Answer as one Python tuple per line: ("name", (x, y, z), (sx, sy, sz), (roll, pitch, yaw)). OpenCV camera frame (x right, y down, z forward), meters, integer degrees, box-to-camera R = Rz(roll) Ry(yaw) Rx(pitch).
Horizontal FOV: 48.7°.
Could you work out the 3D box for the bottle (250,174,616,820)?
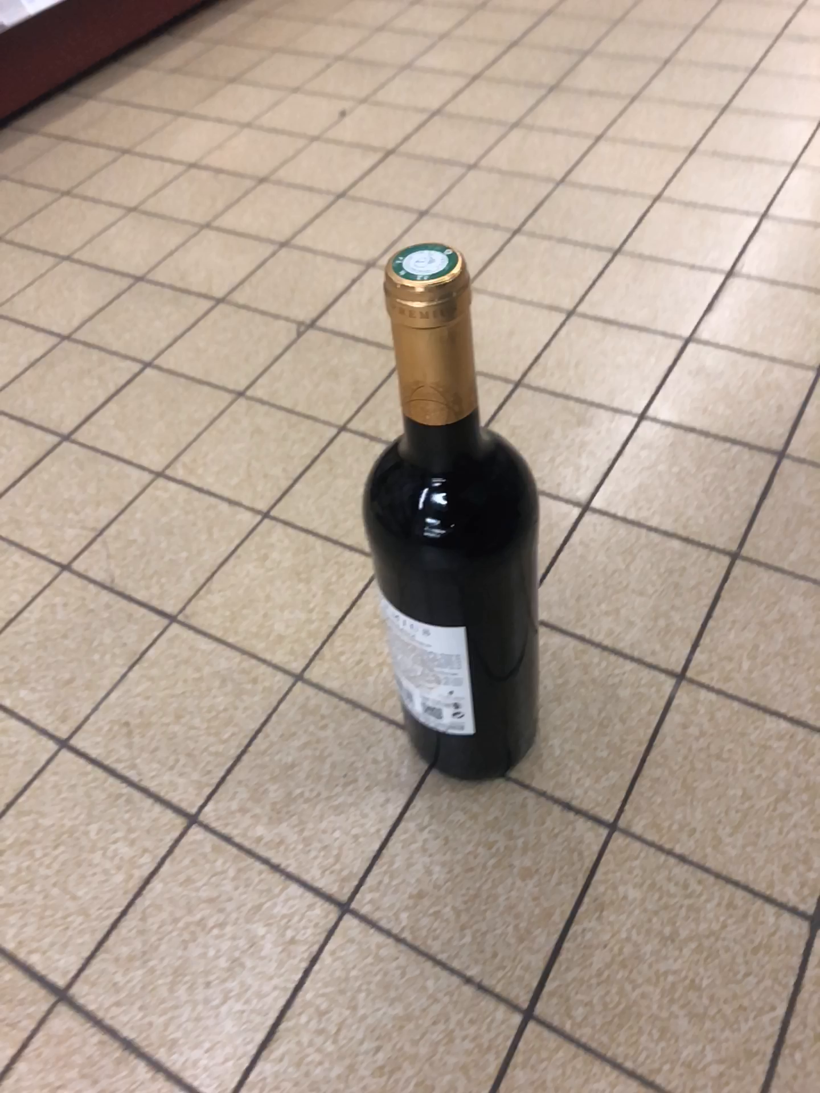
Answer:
("bottle", (0.021, 0.002, 0.403), (0.080, 0.288, 0.090), (-39, 54, -24))
